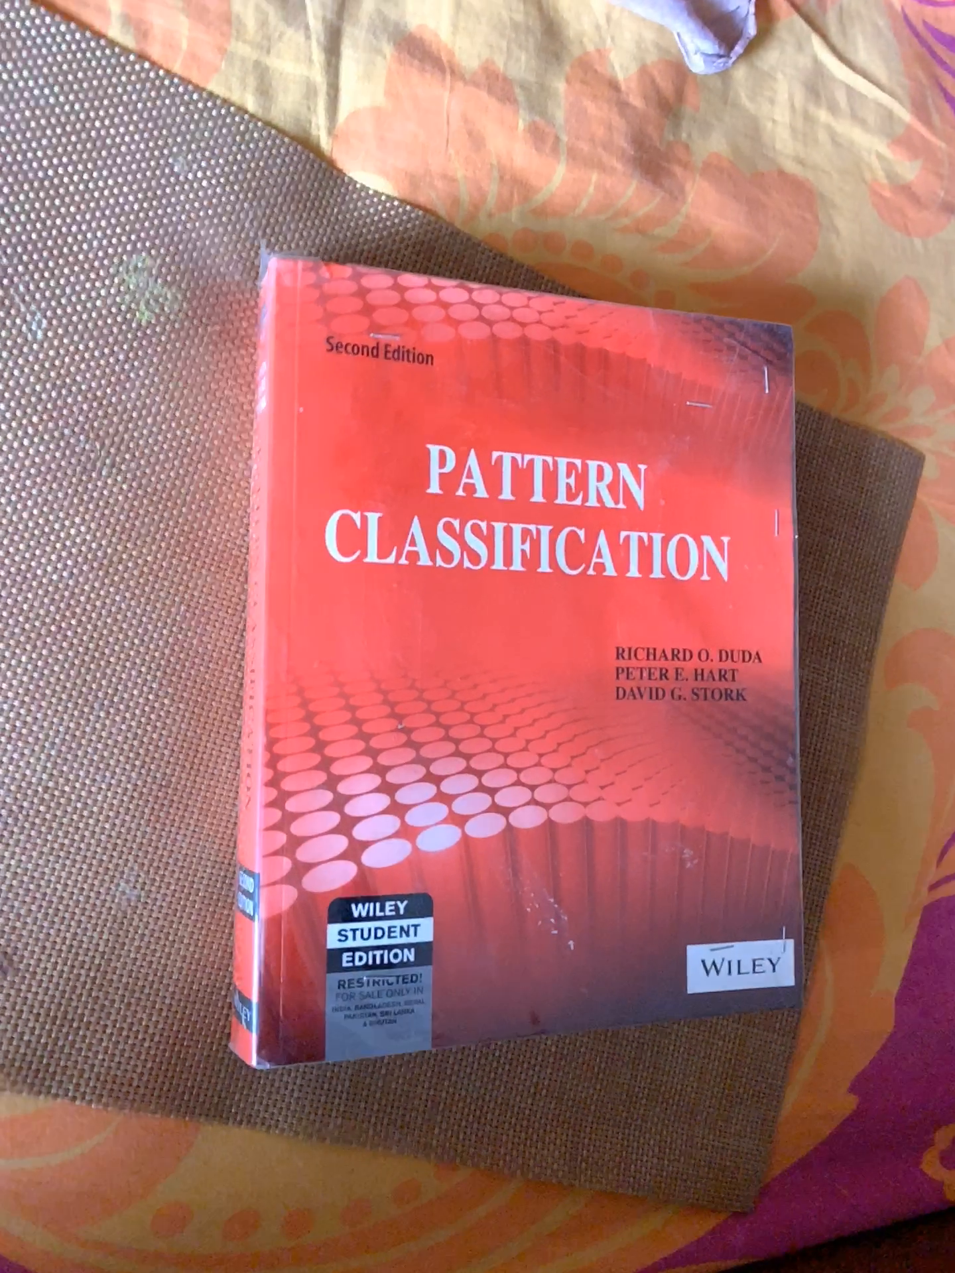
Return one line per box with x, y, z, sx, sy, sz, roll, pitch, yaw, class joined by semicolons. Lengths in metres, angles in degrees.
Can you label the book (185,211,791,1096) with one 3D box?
0.009;0.005;0.306;0.180;0.040;0.230;3;85;-20;book
